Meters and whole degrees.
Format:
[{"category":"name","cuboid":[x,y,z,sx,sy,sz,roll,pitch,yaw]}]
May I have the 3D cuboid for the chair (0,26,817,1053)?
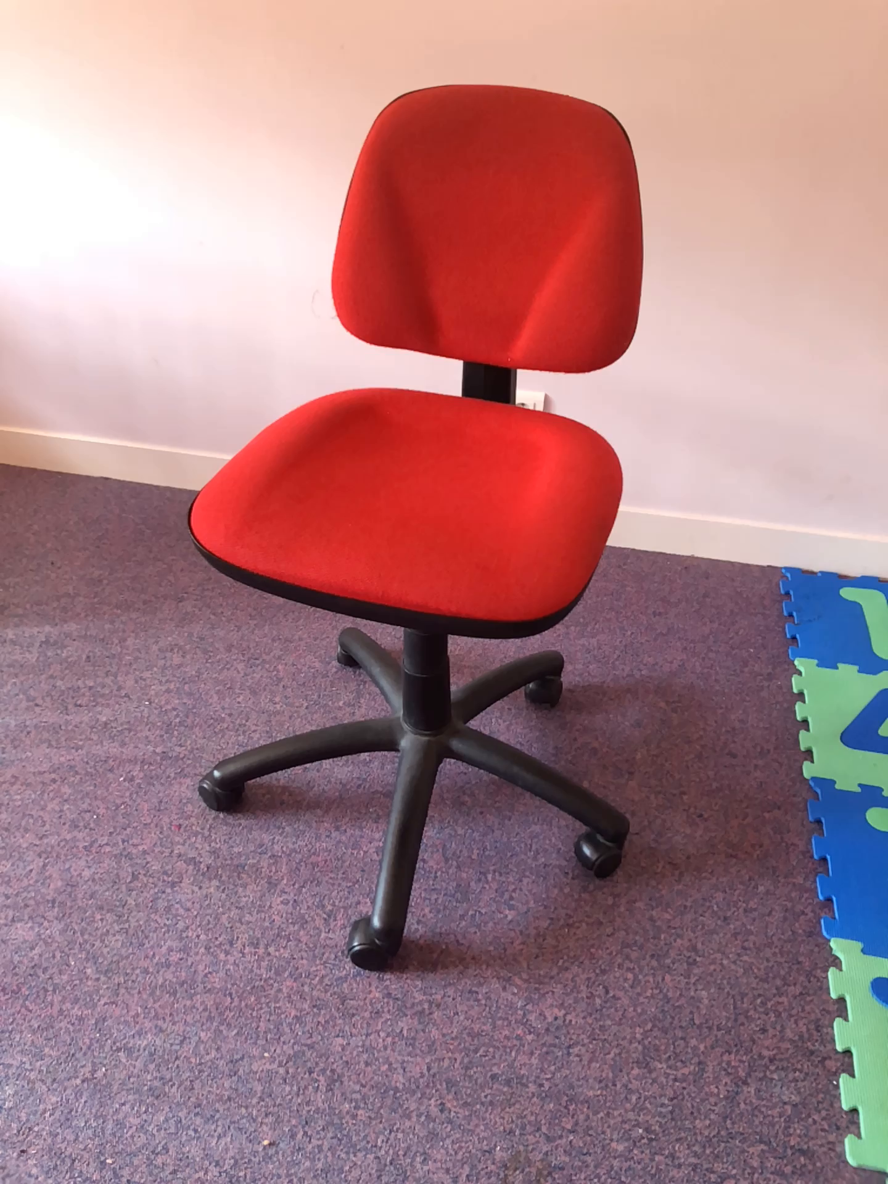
[{"category":"chair","cuboid":[-0.008,-0.097,1.157,0.640,0.894,0.675,12,38,13]}]
